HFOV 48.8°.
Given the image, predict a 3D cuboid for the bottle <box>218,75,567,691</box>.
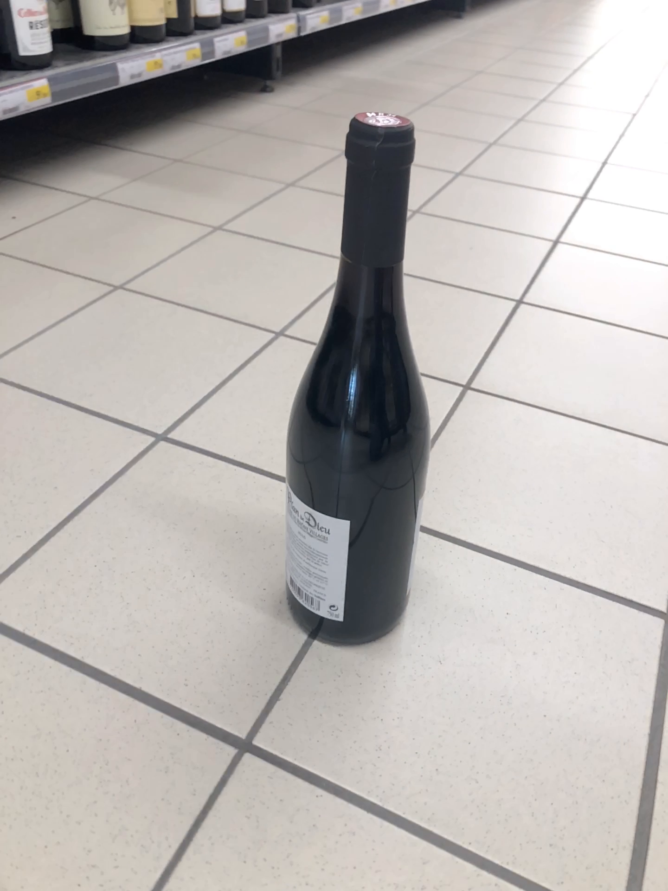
[{"bbox_3d":[0.015,-0.020,0.382,0.100,0.288,0.100,2,36,-2],"label":"bottle"}]
